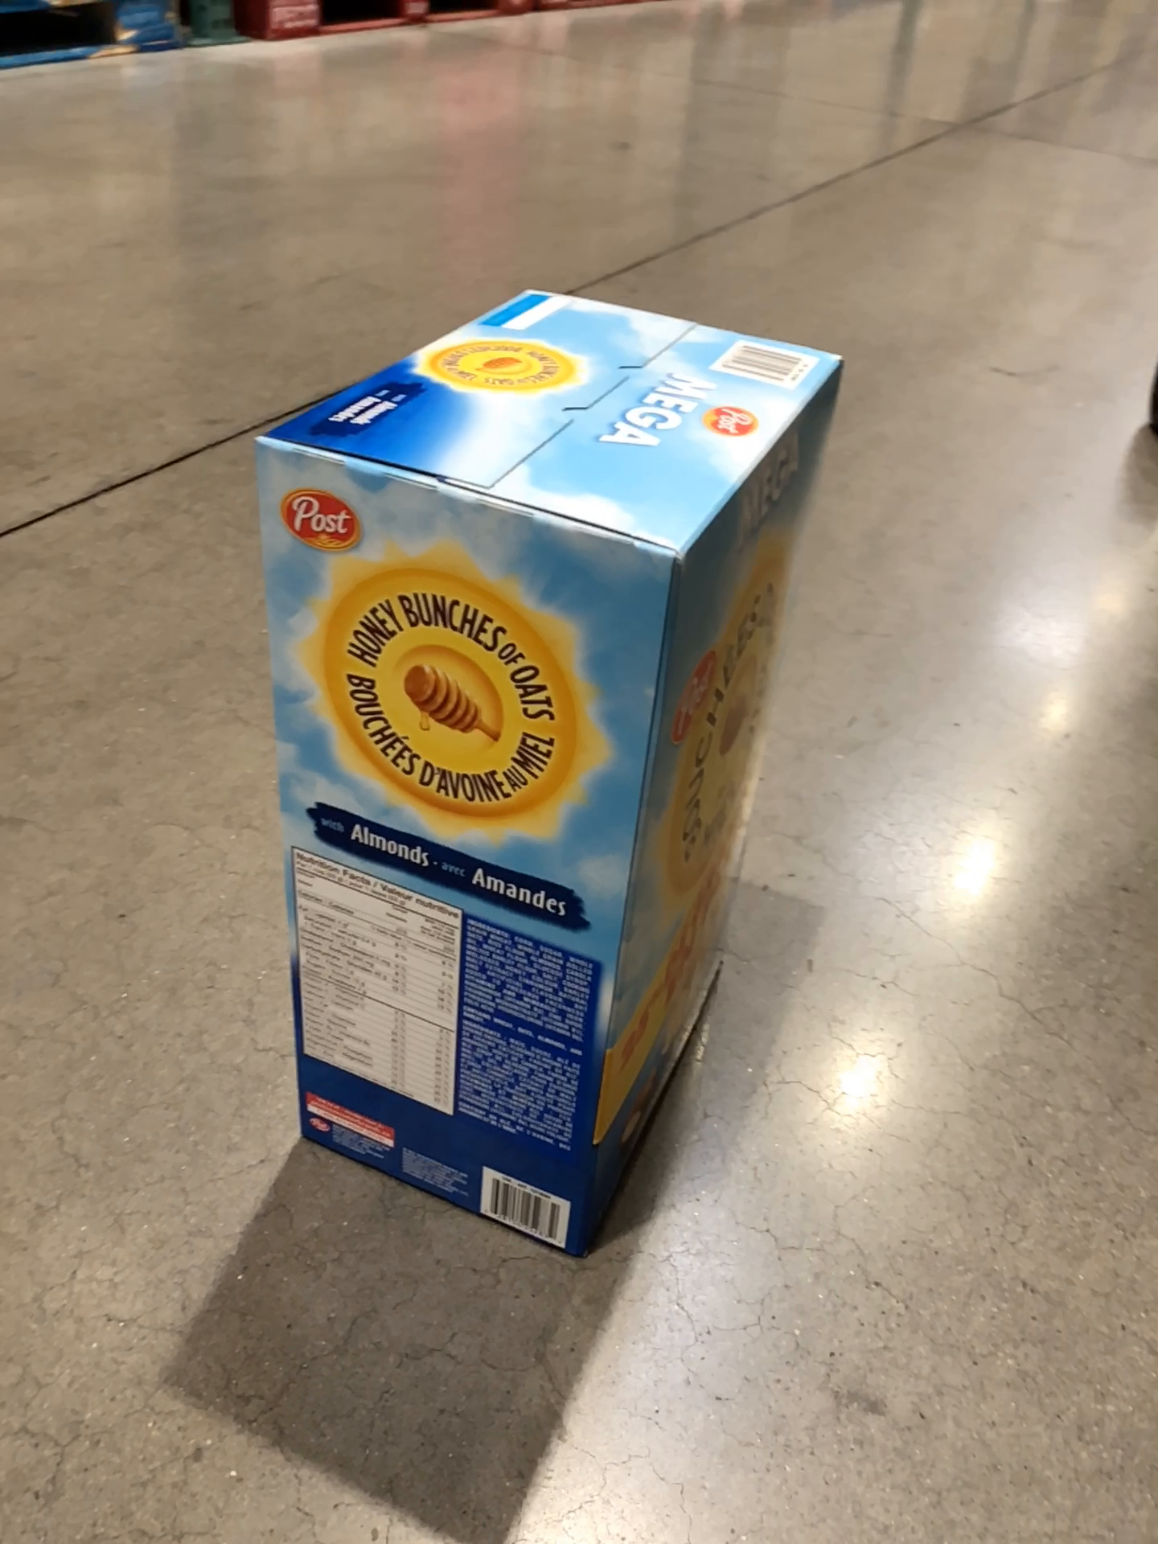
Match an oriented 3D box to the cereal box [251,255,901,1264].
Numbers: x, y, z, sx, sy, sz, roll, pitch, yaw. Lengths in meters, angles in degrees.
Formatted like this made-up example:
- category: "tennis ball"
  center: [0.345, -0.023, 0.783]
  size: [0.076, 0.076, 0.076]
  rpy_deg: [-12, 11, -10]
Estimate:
- category: "cereal box"
  center: [0.000, -0.005, 0.530]
  size: [0.150, 0.329, 0.211]
  rpy_deg: [18, 39, 15]
